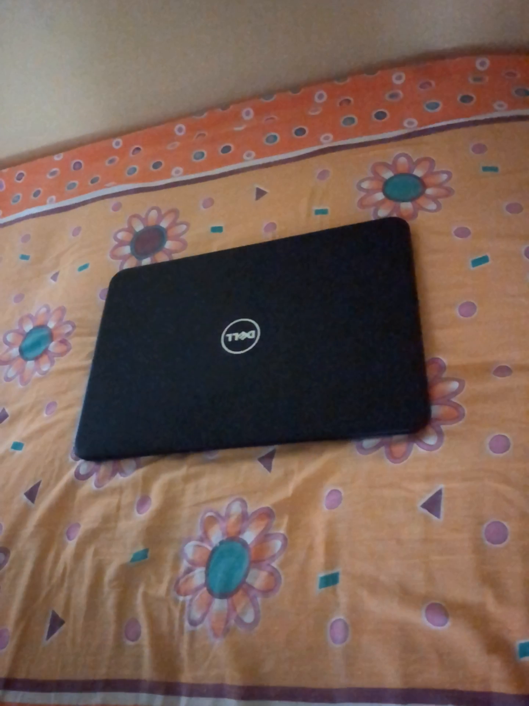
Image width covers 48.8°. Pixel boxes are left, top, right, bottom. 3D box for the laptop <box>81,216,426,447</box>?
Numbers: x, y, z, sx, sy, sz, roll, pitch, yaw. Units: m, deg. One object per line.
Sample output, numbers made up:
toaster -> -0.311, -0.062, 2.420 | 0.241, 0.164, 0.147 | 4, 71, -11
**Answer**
laptop -> -0.025, -0.024, 0.629 | 0.359, 0.001, 0.236 | -8, 59, 17
